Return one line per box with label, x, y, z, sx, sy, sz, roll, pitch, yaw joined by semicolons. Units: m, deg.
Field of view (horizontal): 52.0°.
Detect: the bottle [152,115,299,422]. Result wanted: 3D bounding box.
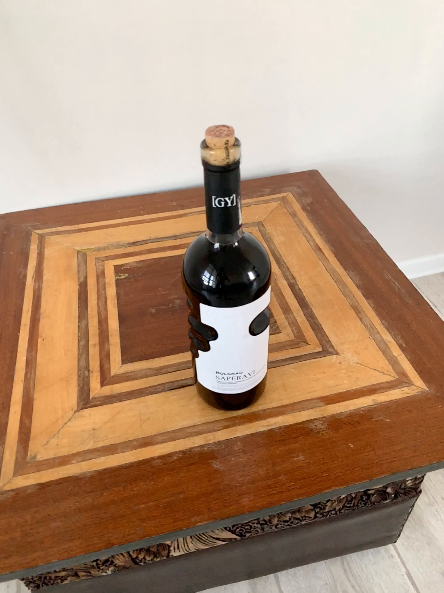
bottle;0.004;-0.009;0.417;0.090;0.269;0.090;-2;41;2
